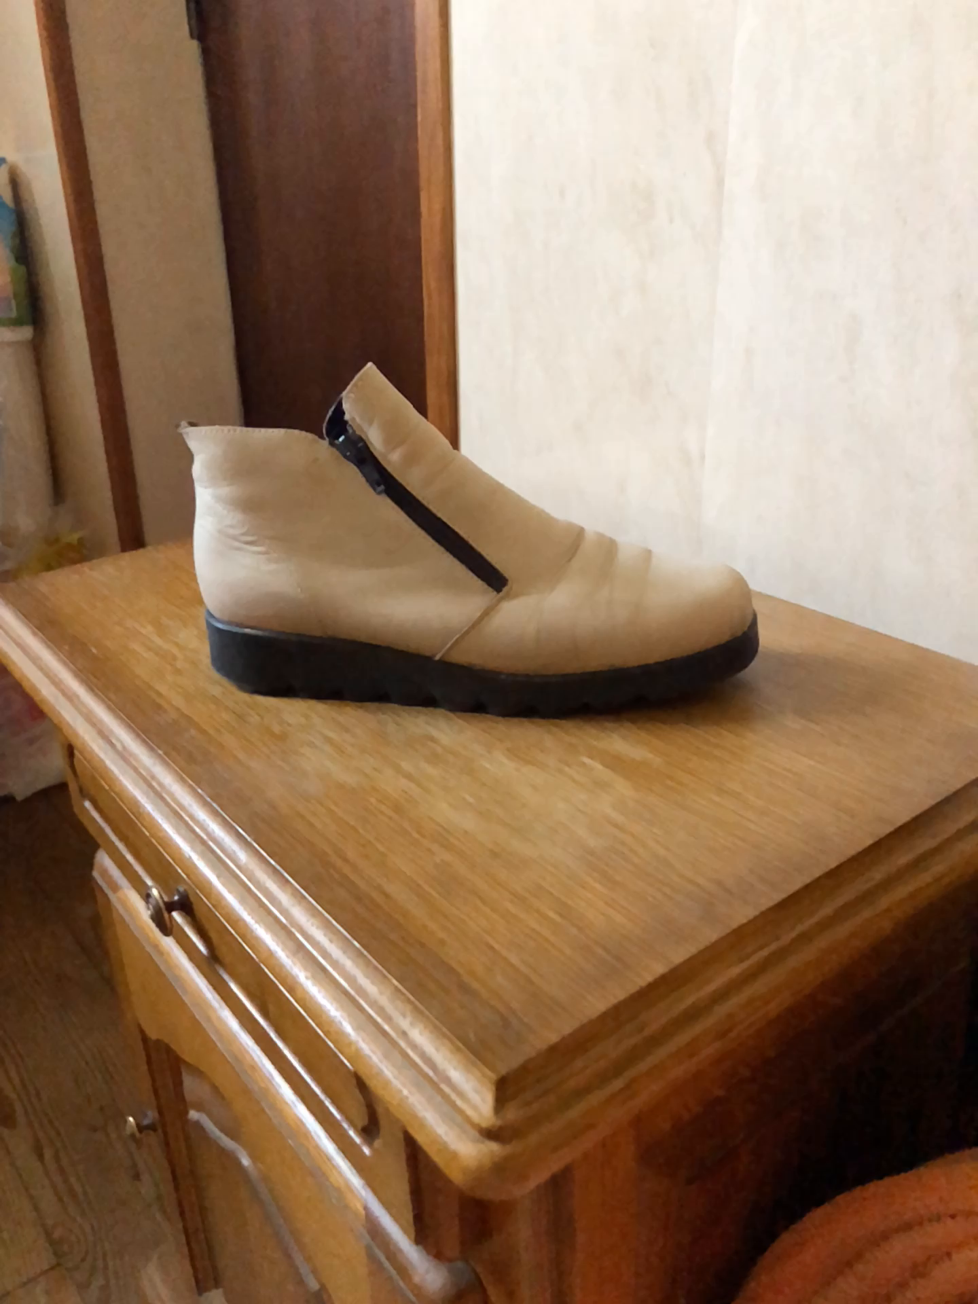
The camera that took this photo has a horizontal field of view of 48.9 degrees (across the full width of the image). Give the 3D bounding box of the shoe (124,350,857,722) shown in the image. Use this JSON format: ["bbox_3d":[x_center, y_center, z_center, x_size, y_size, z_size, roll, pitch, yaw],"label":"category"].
[{"bbox_3d":[0.003,-0.053,0.465,0.270,0.129,0.101,1,25,6],"label":"shoe"}]
